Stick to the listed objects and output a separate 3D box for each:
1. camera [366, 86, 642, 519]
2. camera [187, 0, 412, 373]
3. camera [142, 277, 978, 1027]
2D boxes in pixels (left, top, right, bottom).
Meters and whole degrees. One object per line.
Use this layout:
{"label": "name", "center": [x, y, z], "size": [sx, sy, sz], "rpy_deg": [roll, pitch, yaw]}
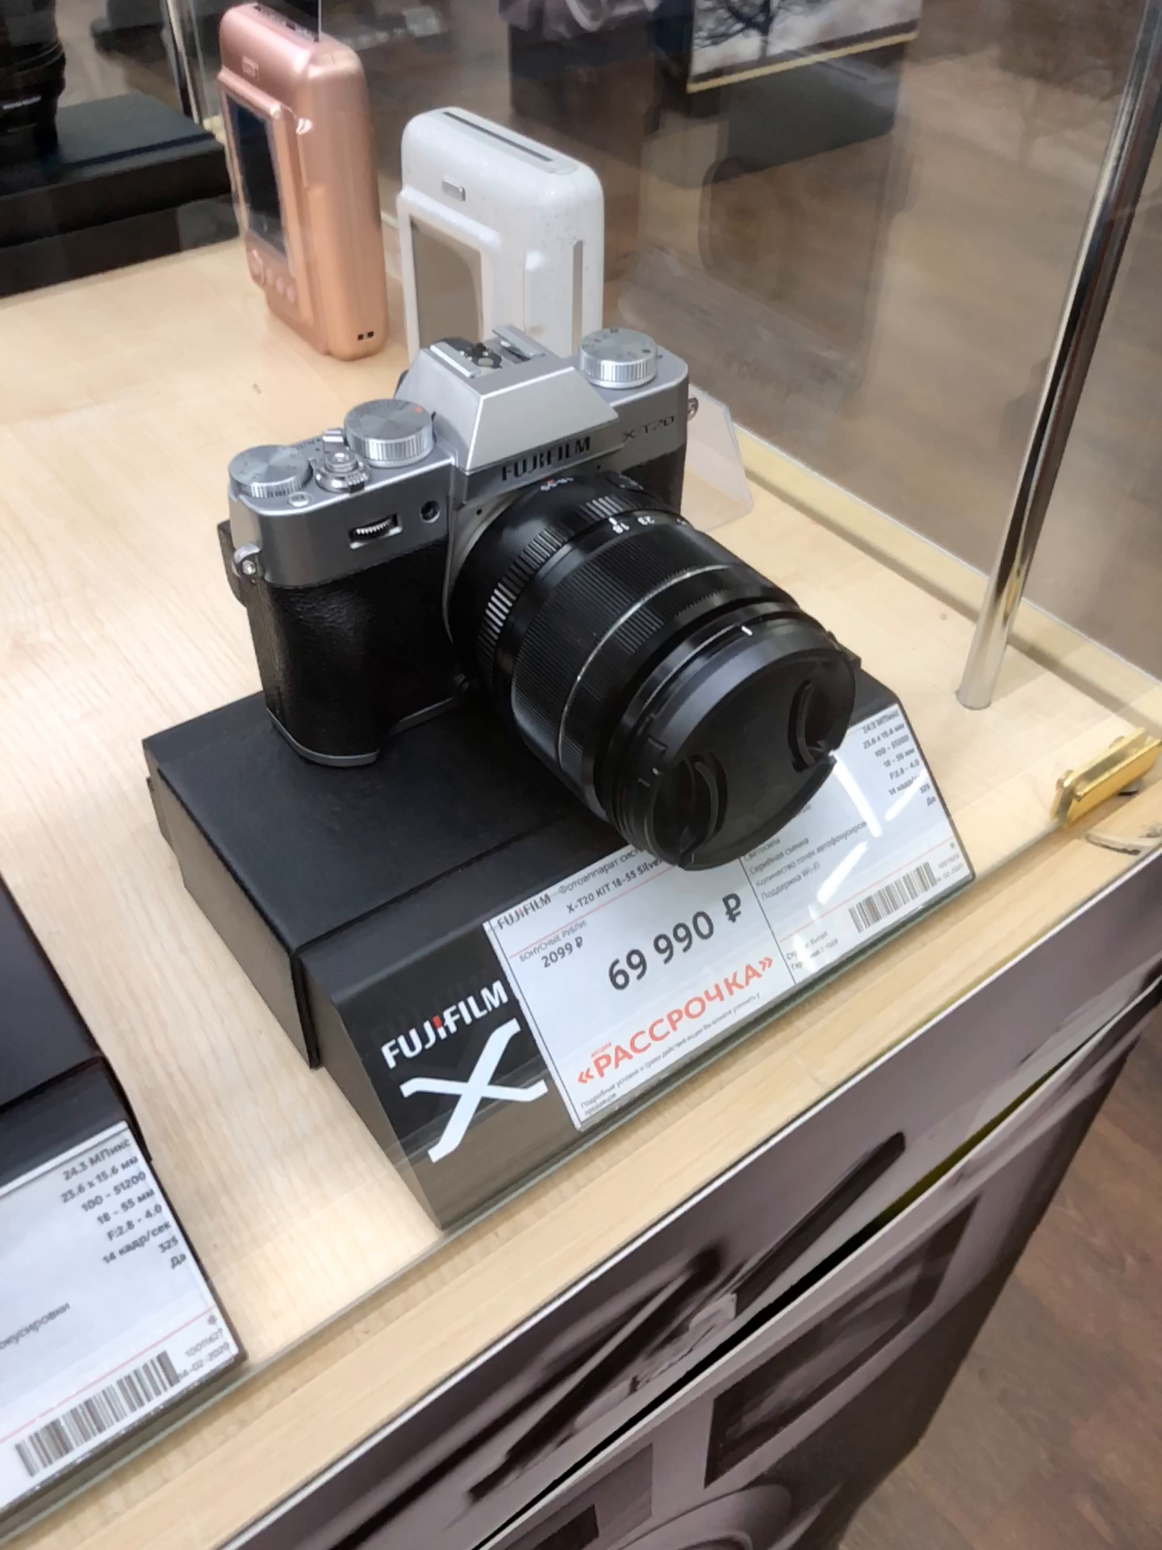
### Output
{"label": "camera", "center": [-0.027, -0.163, 0.446], "size": [0.039, 0.110, 0.094], "rpy_deg": [-29, 51, -28]}
{"label": "camera", "center": [-0.117, -0.250, 0.544], "size": [0.043, 0.117, 0.101], "rpy_deg": [-23, 49, -23]}
{"label": "camera", "center": [-0.009, -0.039, 0.297], "size": [0.124, 0.080, 0.130], "rpy_deg": [-25, 49, -25]}
